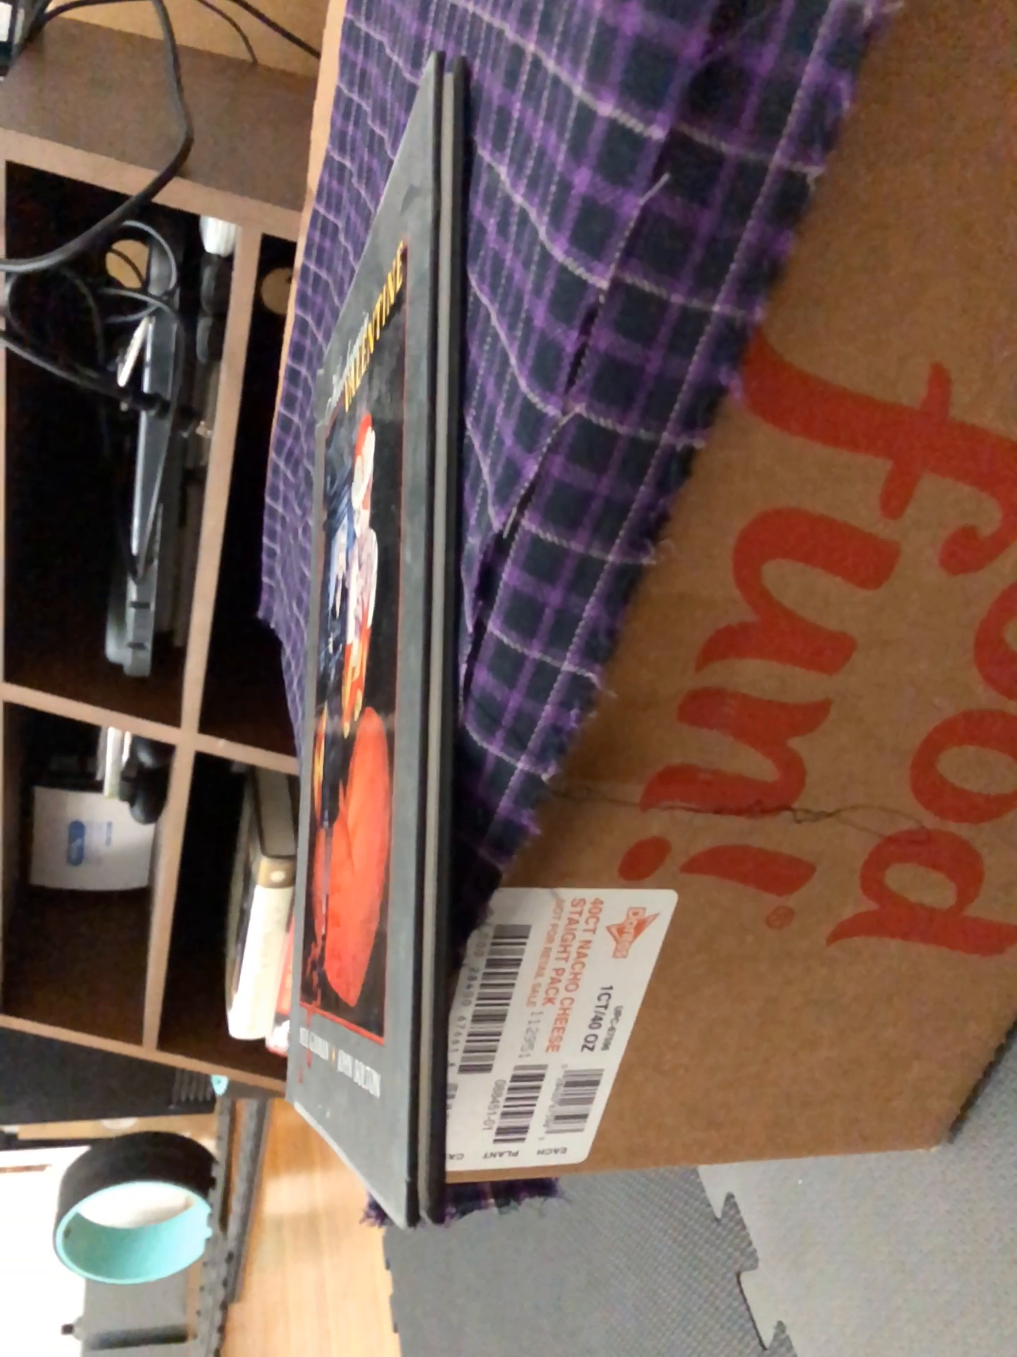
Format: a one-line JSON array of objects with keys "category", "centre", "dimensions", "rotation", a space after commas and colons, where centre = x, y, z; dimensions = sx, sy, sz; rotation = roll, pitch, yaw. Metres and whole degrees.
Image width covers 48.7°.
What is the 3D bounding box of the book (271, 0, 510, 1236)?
[{"category": "book", "centre": [-0.039, -0.016, 0.321], "dimensions": [0.181, 0.020, 0.280], "rotation": [146, 127, -67]}]
